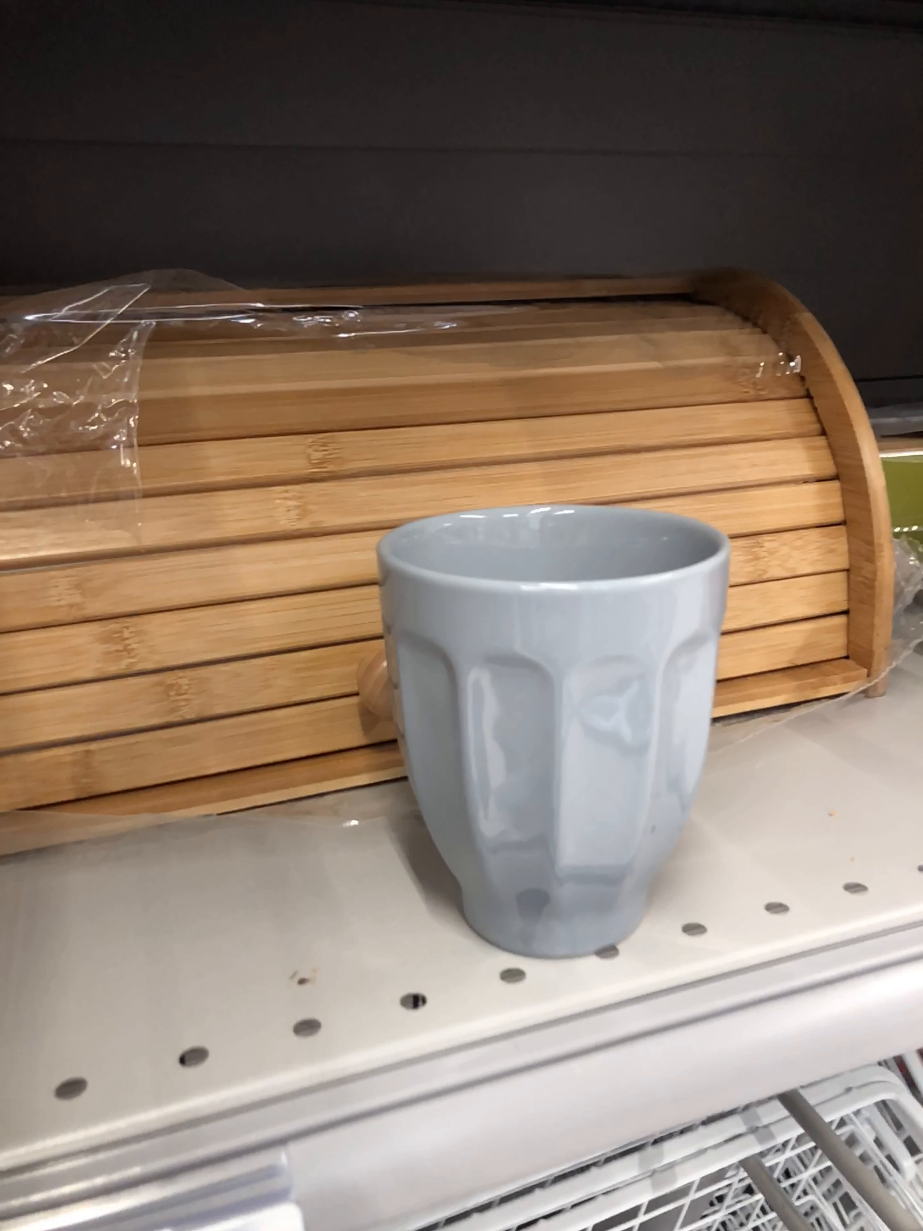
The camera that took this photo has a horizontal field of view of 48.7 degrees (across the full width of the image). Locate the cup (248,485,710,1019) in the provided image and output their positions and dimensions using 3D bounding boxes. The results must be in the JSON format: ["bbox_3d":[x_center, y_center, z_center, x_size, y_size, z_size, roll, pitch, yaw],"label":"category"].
[{"bbox_3d":[0.015,0.023,0.270,0.092,0.091,0.117,3,19,14],"label":"cup"}]
